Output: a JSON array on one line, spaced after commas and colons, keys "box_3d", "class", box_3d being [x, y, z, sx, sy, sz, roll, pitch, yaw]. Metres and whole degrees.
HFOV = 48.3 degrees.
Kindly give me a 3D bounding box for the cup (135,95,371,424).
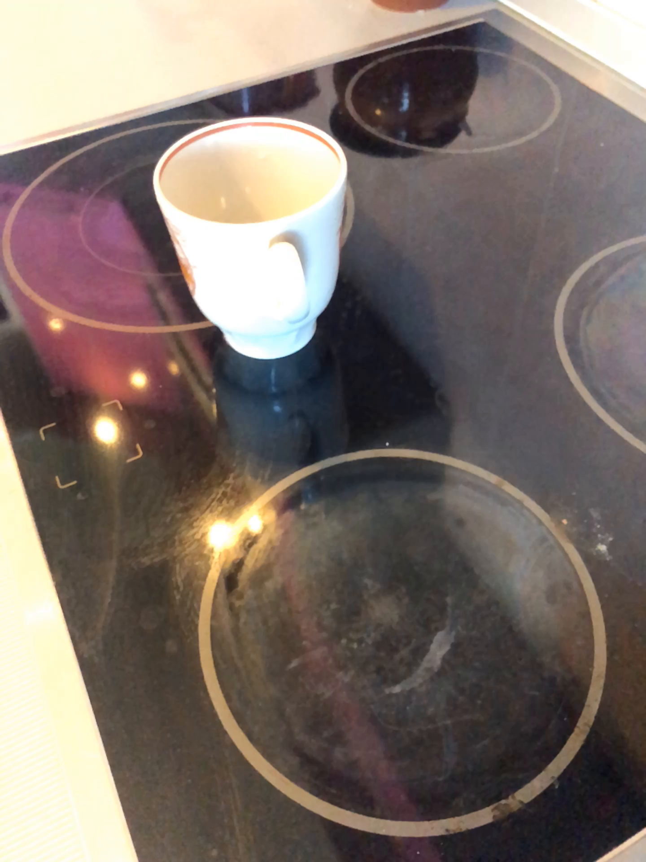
[{"box_3d": [-0.034, -0.083, 0.345, 0.090, 0.090, 0.120, -7, 52, -5], "class": "cup"}]
